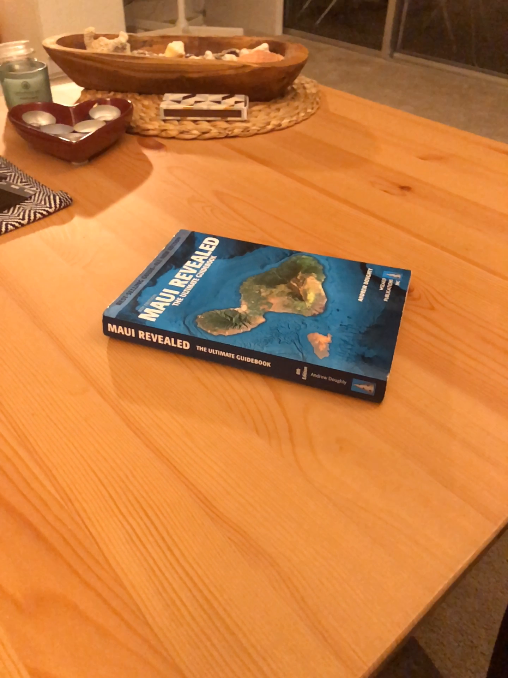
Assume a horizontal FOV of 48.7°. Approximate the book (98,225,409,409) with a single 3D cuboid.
[{"bbox_3d":[0.009,-0.028,0.428,0.200,0.020,0.147,13,39,12],"label":"book"}]
